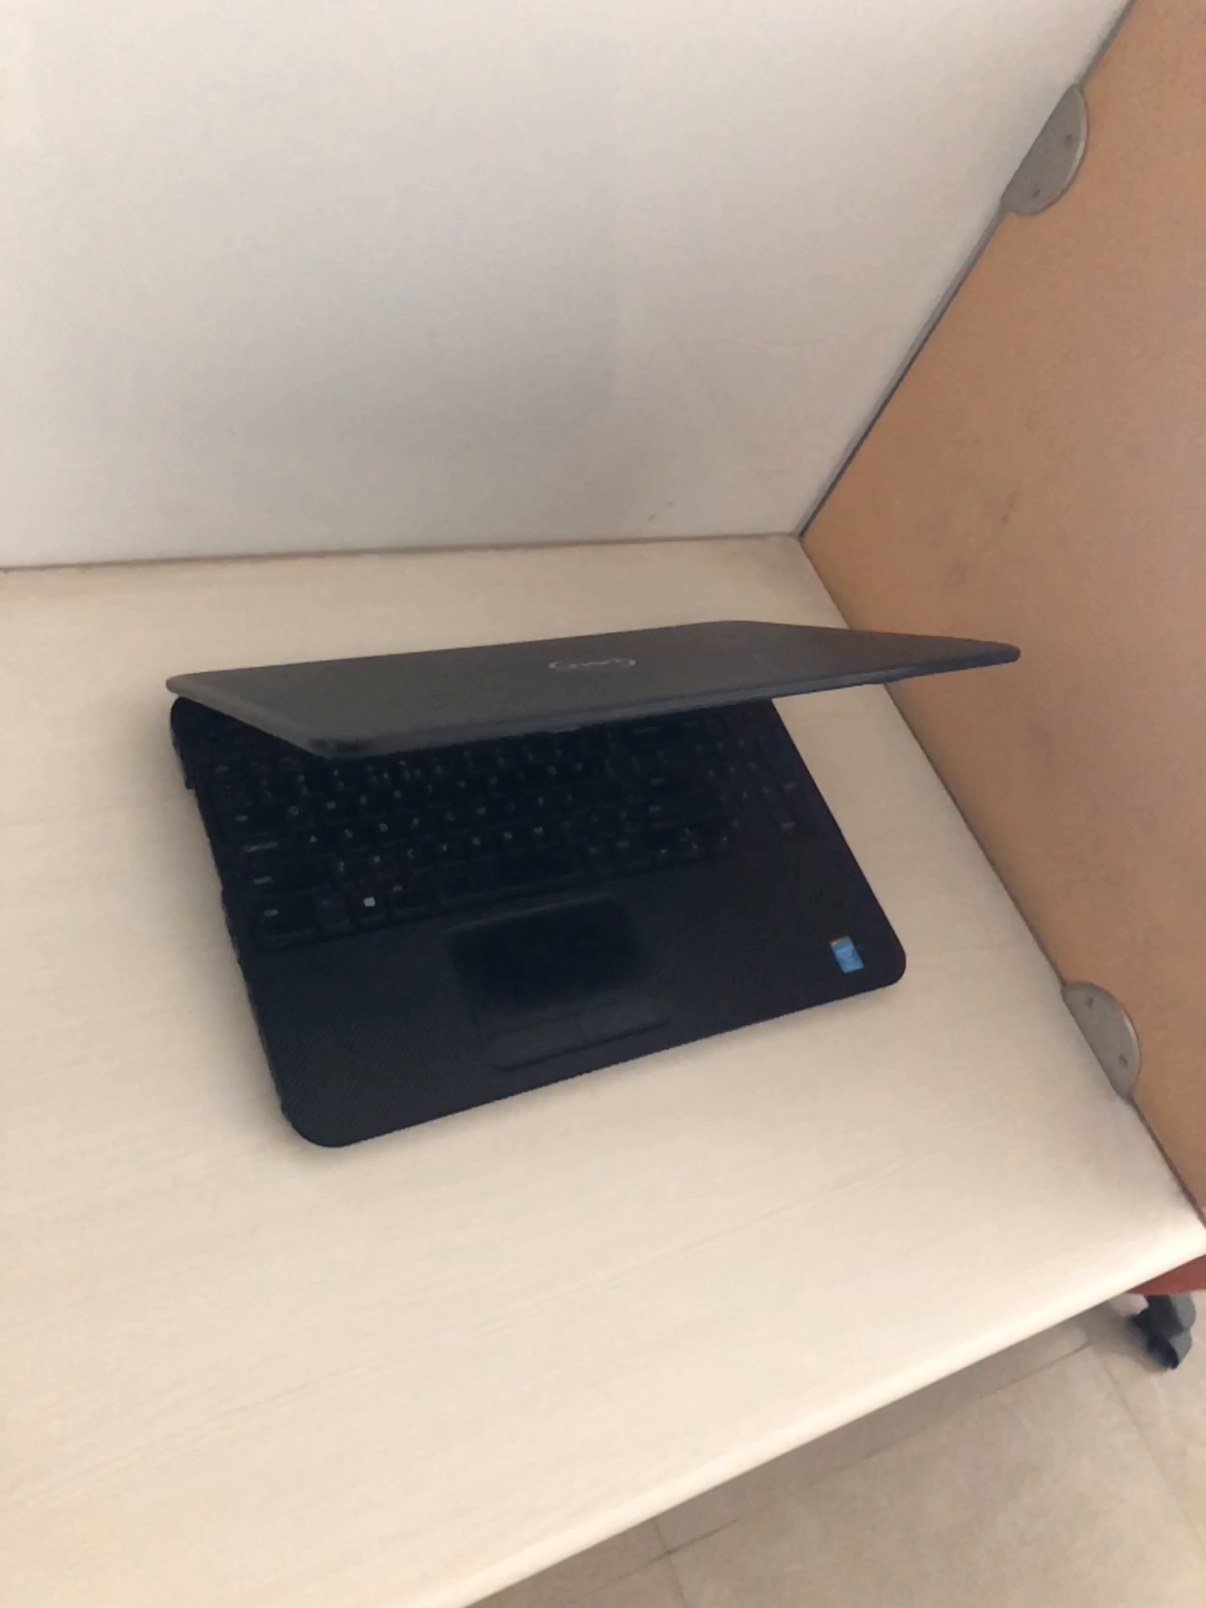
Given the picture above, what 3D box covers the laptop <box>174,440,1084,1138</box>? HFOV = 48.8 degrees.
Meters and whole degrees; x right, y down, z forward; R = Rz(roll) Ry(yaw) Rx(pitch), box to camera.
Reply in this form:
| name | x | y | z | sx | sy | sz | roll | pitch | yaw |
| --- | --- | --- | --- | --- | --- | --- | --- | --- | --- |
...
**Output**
| name | x | y | z | sx | sy | sz | roll | pitch | yaw |
| --- | --- | --- | --- | --- | --- | --- | --- | --- | --- |
| laptop | 0.006 | -0.028 | 0.679 | 0.365 | 0.177 | 0.248 | -10 | 62 | -31 |
